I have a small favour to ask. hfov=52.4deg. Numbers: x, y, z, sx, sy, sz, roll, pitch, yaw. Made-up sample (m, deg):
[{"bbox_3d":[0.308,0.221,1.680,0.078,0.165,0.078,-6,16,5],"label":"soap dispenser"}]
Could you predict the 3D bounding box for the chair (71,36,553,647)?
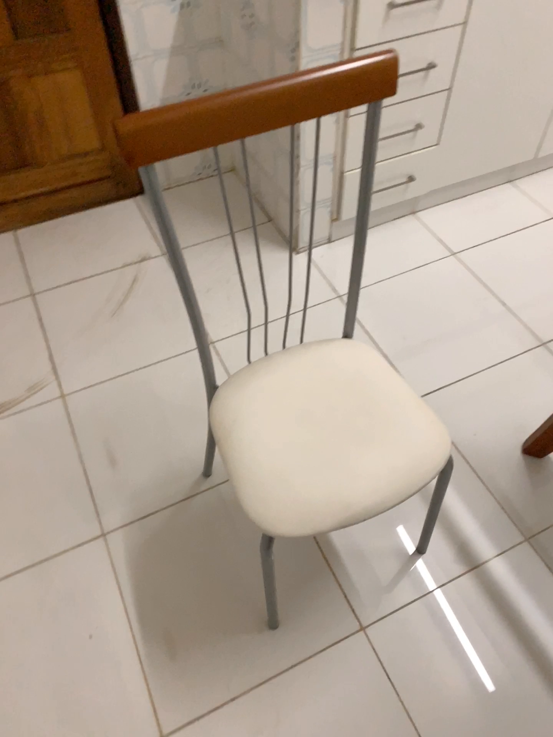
[{"bbox_3d":[0.066,0.033,0.997,0.481,0.886,0.512,-21,55,-14],"label":"chair"}]
